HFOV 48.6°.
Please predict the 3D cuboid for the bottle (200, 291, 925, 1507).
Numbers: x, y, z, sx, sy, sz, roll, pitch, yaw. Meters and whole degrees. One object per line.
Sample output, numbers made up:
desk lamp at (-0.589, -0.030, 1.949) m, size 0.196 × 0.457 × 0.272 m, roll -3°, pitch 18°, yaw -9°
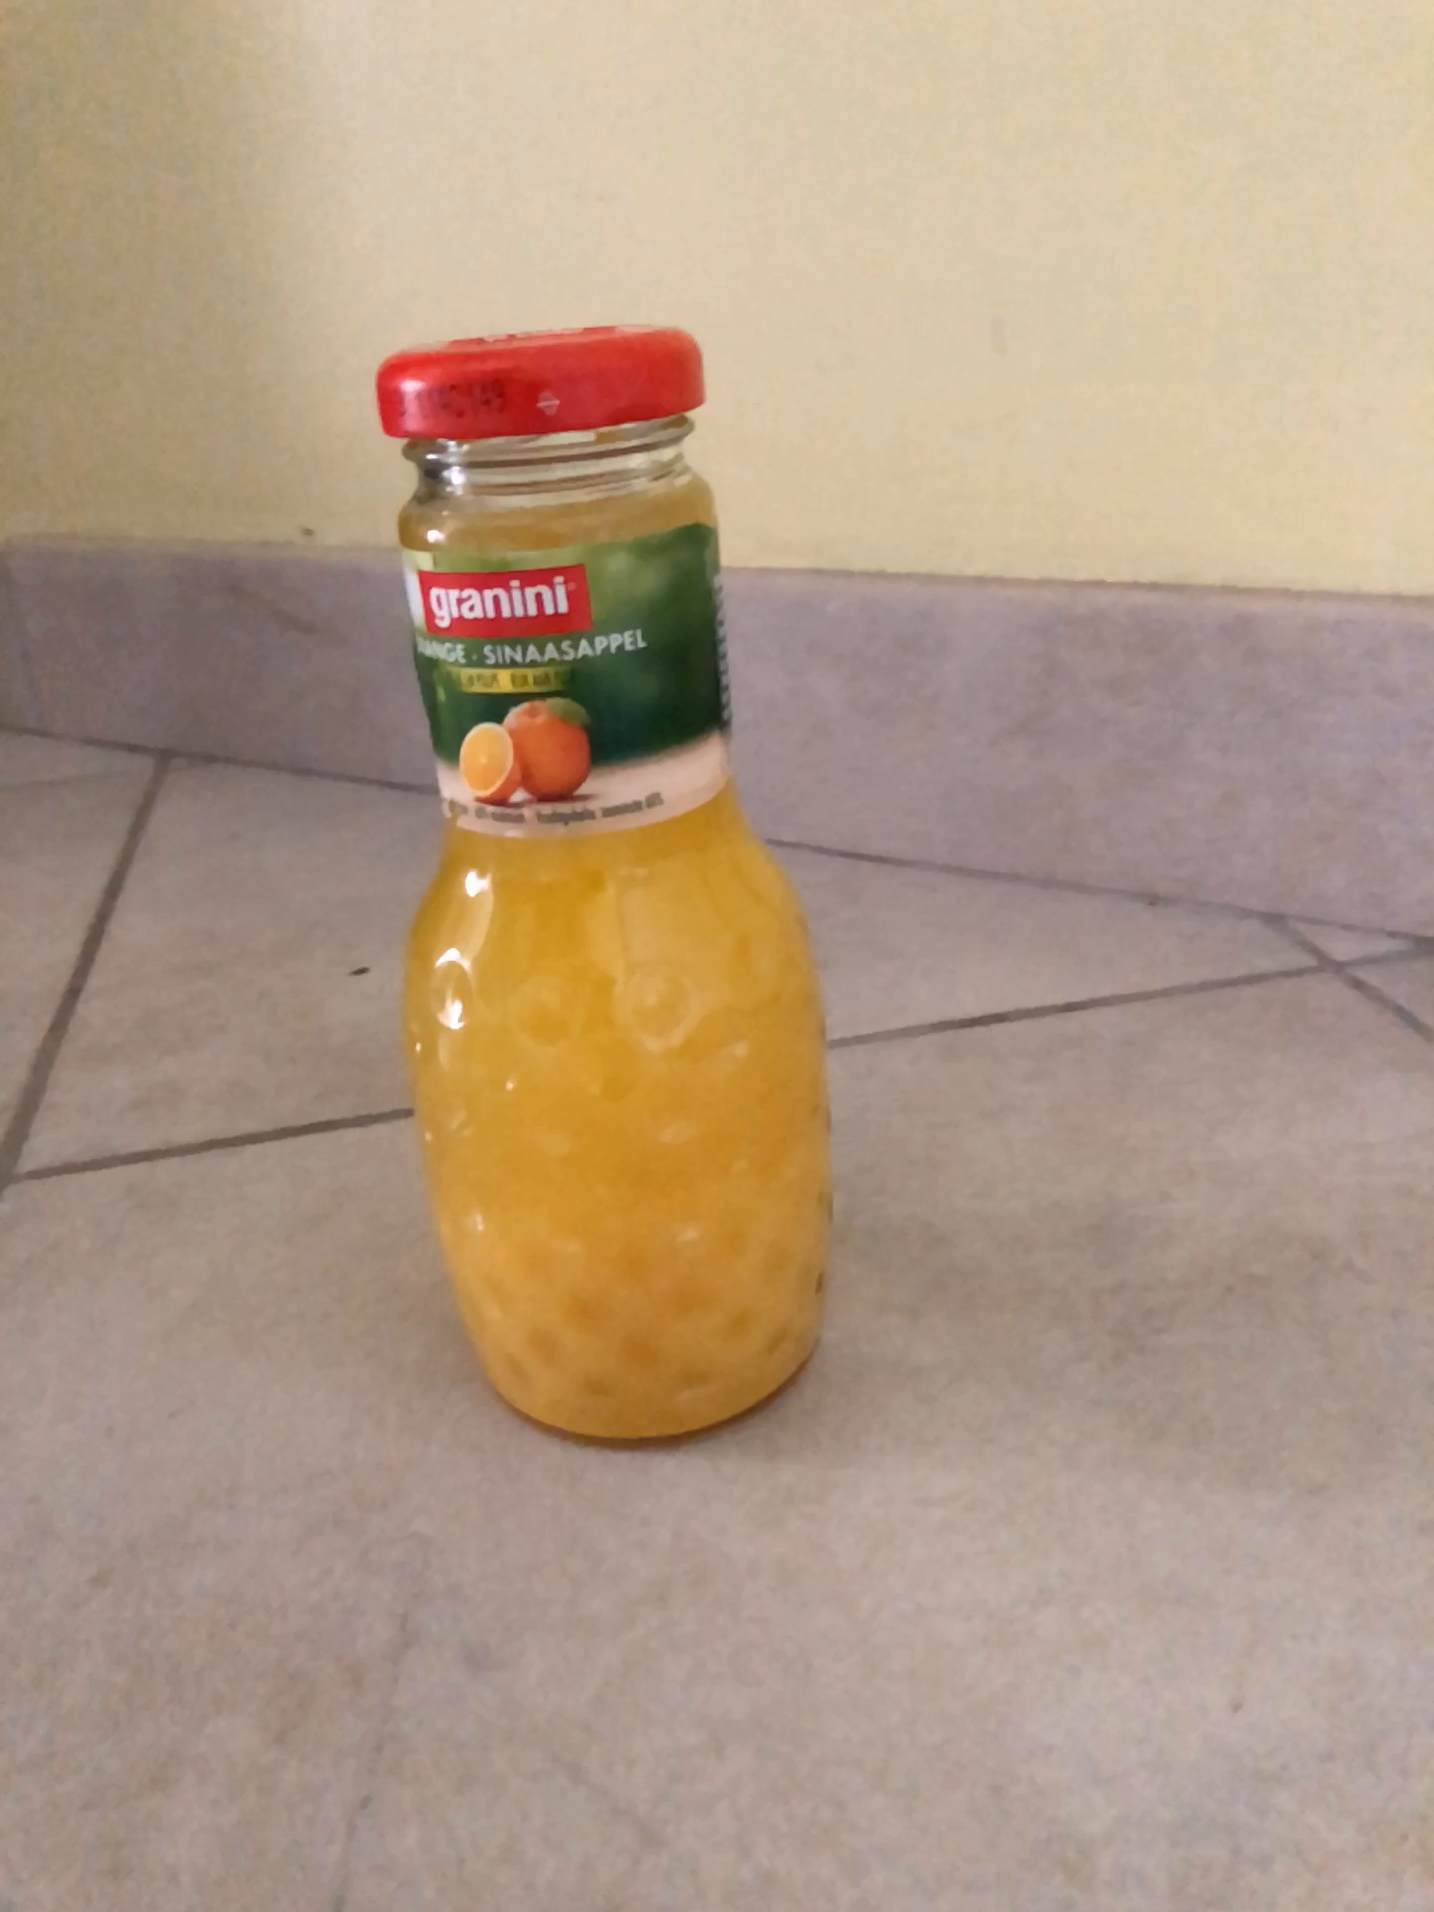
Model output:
bottle at (-0.012, -0.008, 0.234) m, size 0.070 × 0.159 × 0.060 m, roll 5°, pitch 26°, yaw 20°
